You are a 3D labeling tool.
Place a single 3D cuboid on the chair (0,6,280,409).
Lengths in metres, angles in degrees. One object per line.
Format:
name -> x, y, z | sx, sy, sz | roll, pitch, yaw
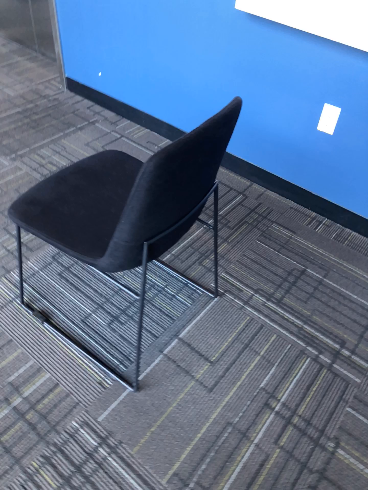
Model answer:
chair -> -0.199, -0.103, 1.104 | 0.551, 0.766, 0.562 | 29, 49, 21
